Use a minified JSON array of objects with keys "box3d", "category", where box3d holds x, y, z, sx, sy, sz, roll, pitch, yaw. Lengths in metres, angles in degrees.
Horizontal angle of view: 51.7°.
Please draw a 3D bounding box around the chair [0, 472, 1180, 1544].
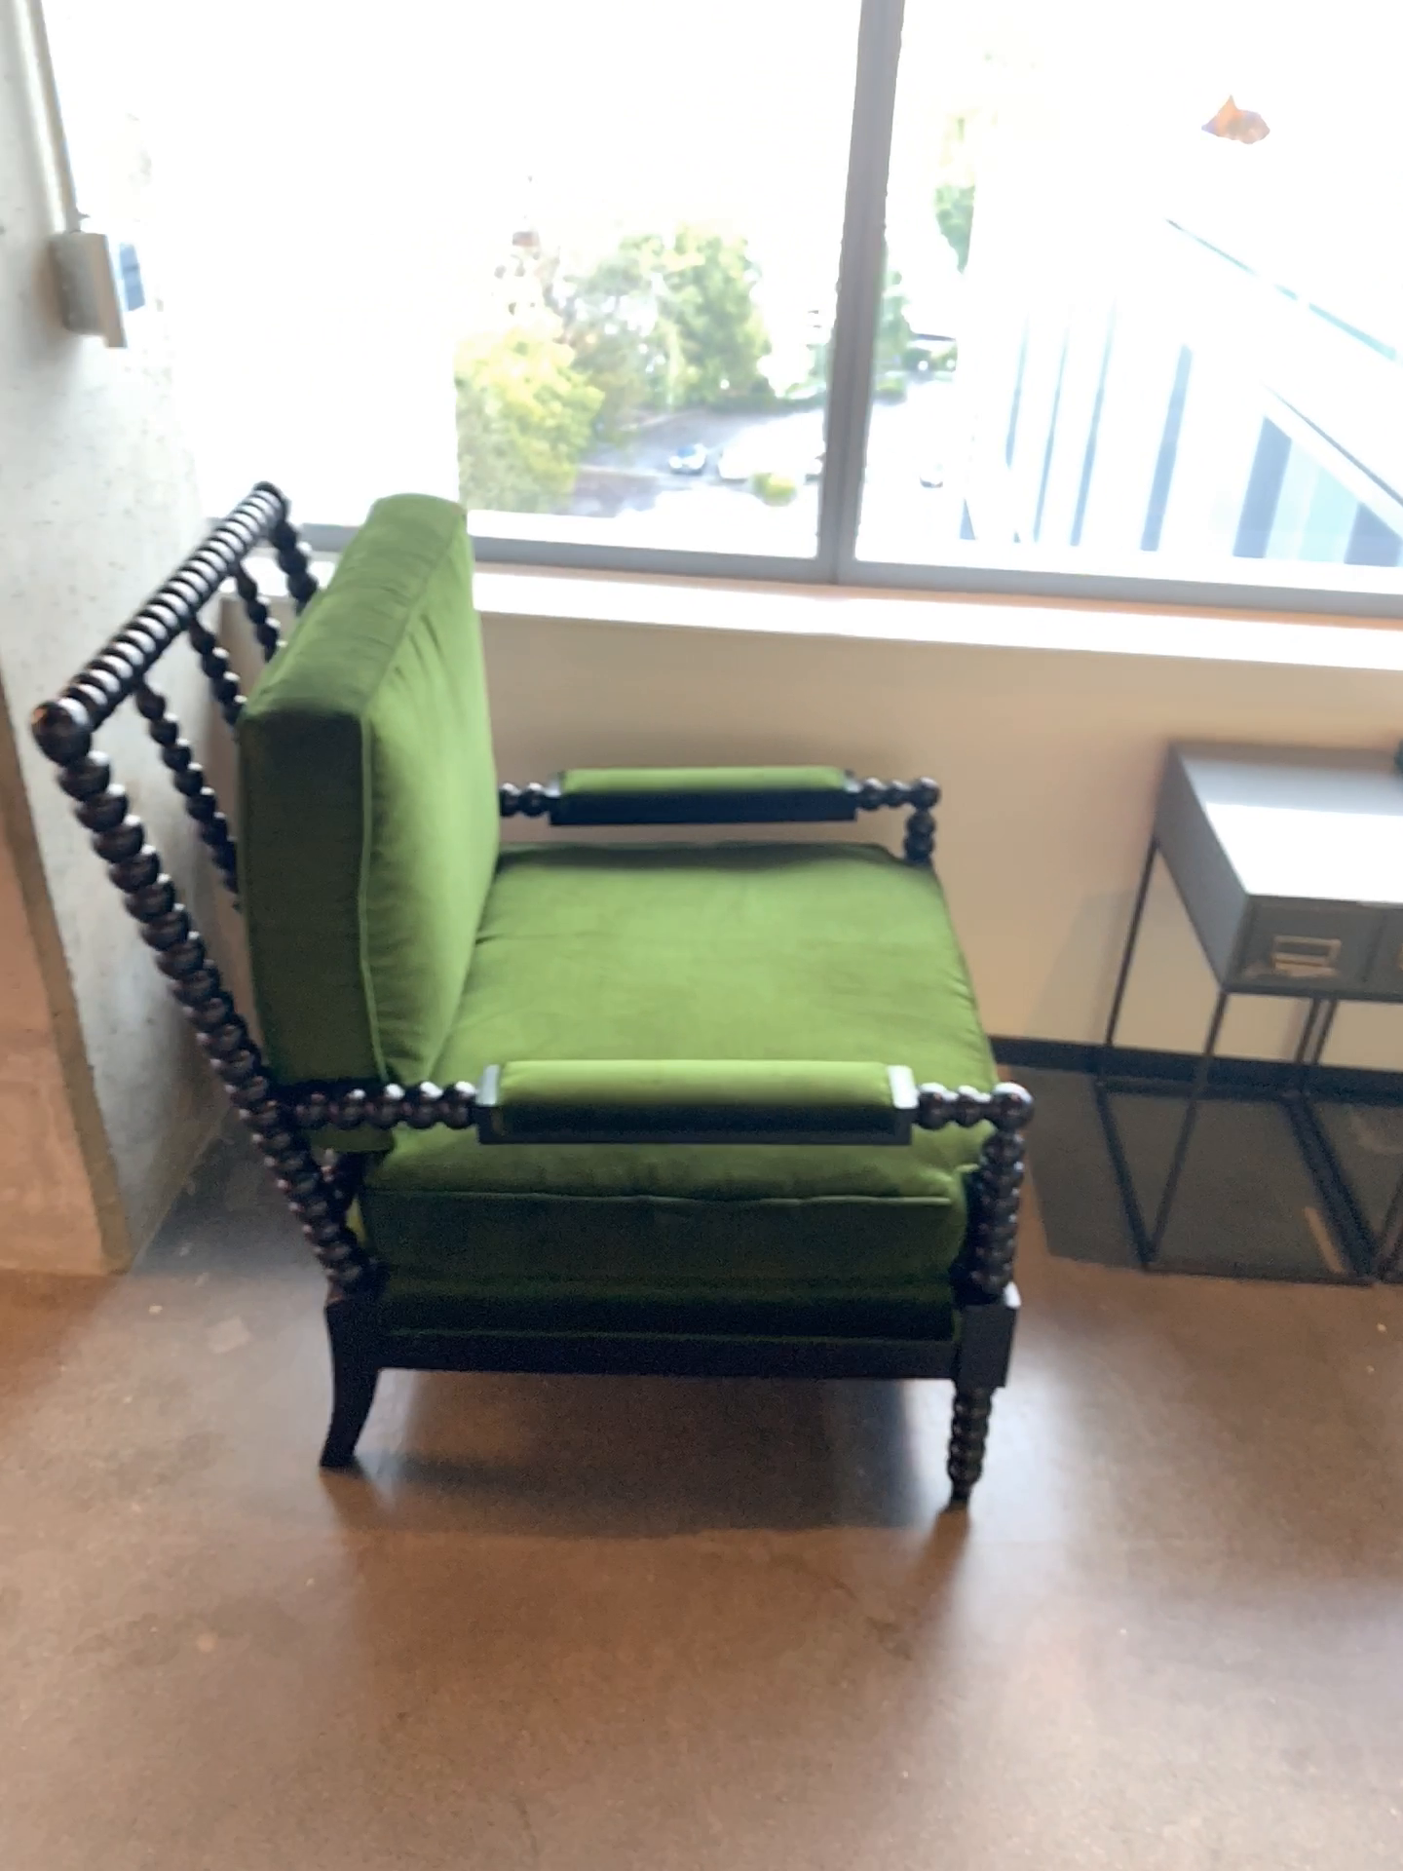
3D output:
[{"box3d":[-0.110,0.049,1.701,0.910,0.924,0.845,1,32,-2],"category":"chair"}]
